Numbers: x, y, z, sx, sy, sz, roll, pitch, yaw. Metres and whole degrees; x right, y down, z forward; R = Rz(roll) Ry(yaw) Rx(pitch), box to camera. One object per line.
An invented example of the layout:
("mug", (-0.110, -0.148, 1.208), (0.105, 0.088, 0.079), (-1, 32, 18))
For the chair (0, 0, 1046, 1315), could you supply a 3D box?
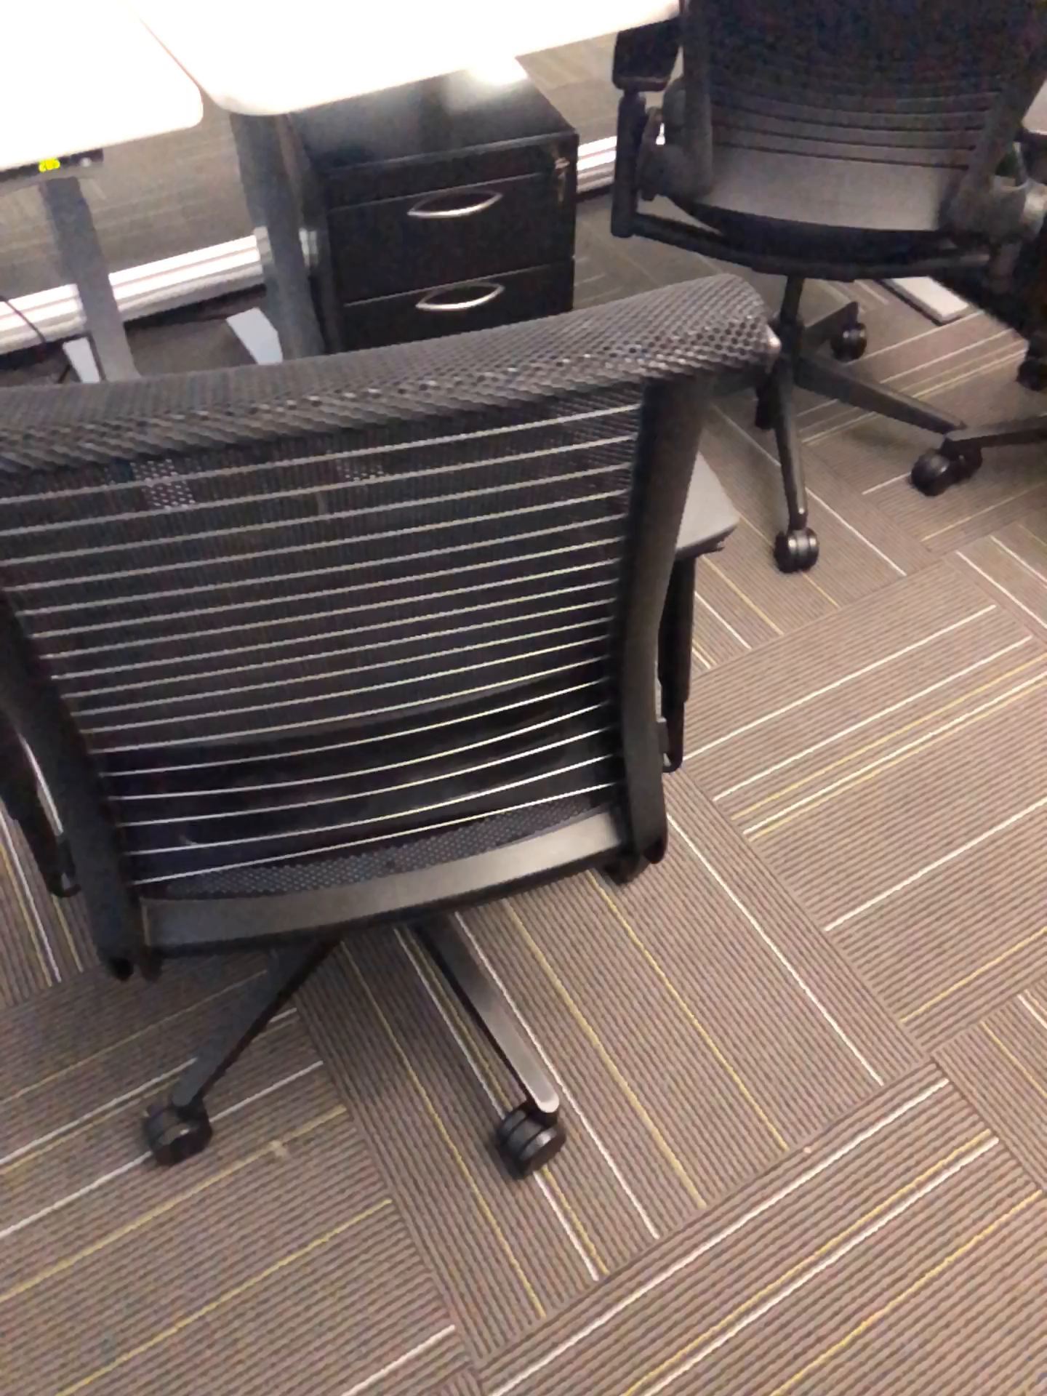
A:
("chair", (-0.156, -0.050, 1.008), (0.750, 0.996, 0.662), (-13, 51, -11))
